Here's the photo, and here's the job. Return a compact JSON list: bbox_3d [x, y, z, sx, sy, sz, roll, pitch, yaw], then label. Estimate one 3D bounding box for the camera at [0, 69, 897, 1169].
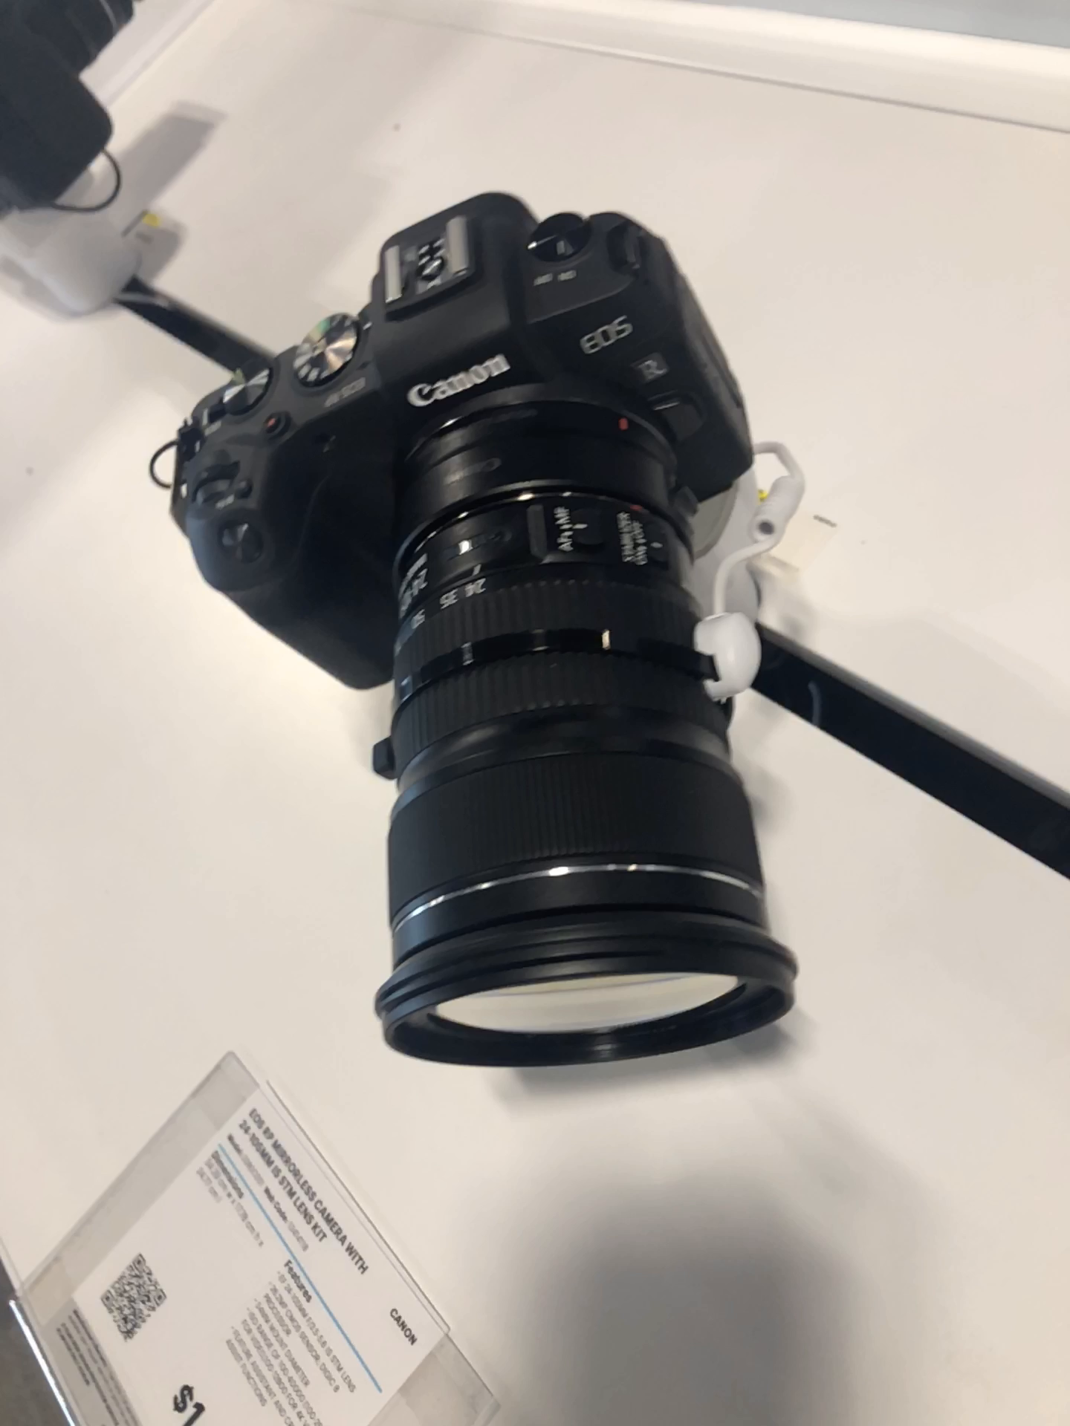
[{"bbox_3d":[-0.021,-0.017,0.261,0.136,0.089,0.191,-18,57,19],"label":"camera"}]
